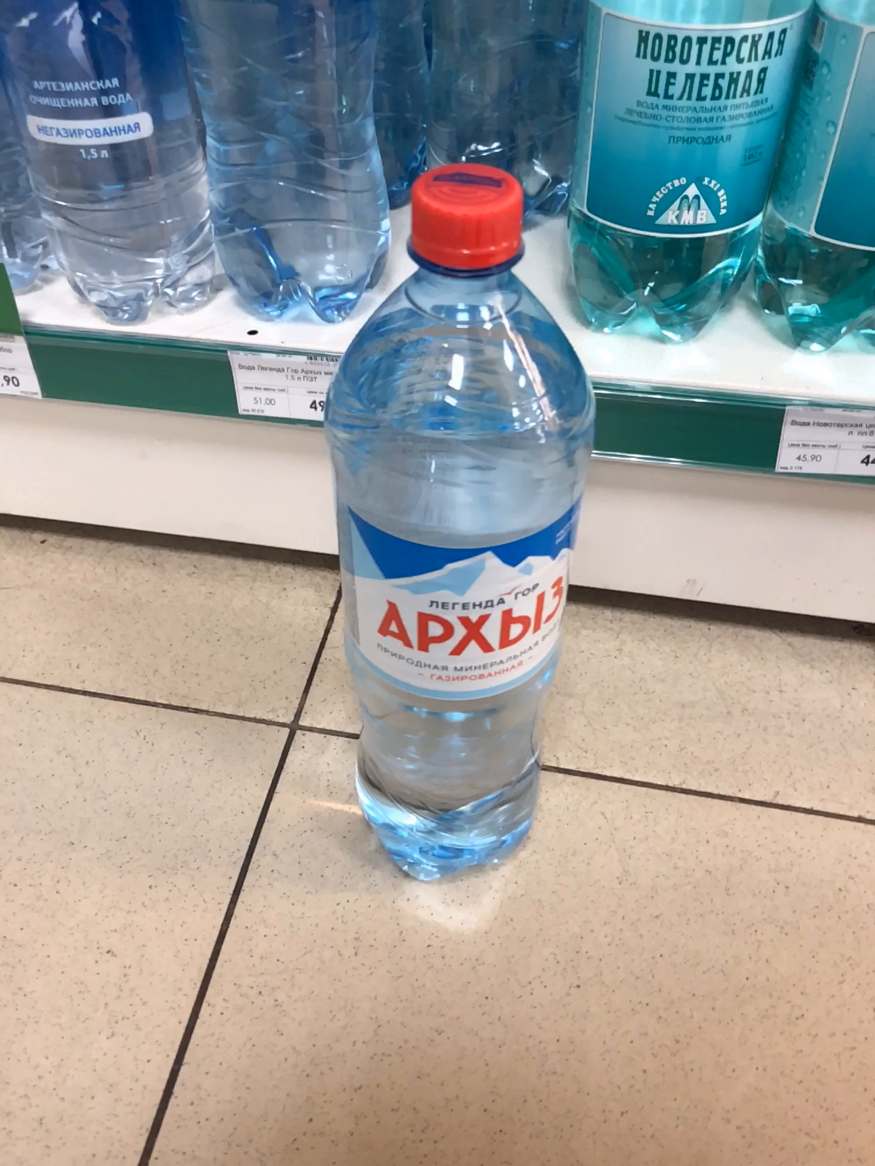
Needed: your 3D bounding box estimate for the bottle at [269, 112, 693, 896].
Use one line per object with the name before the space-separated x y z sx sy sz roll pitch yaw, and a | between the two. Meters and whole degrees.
bottle | 0.007 0.002 0.361 0.093 0.306 0.086 0 48 0
